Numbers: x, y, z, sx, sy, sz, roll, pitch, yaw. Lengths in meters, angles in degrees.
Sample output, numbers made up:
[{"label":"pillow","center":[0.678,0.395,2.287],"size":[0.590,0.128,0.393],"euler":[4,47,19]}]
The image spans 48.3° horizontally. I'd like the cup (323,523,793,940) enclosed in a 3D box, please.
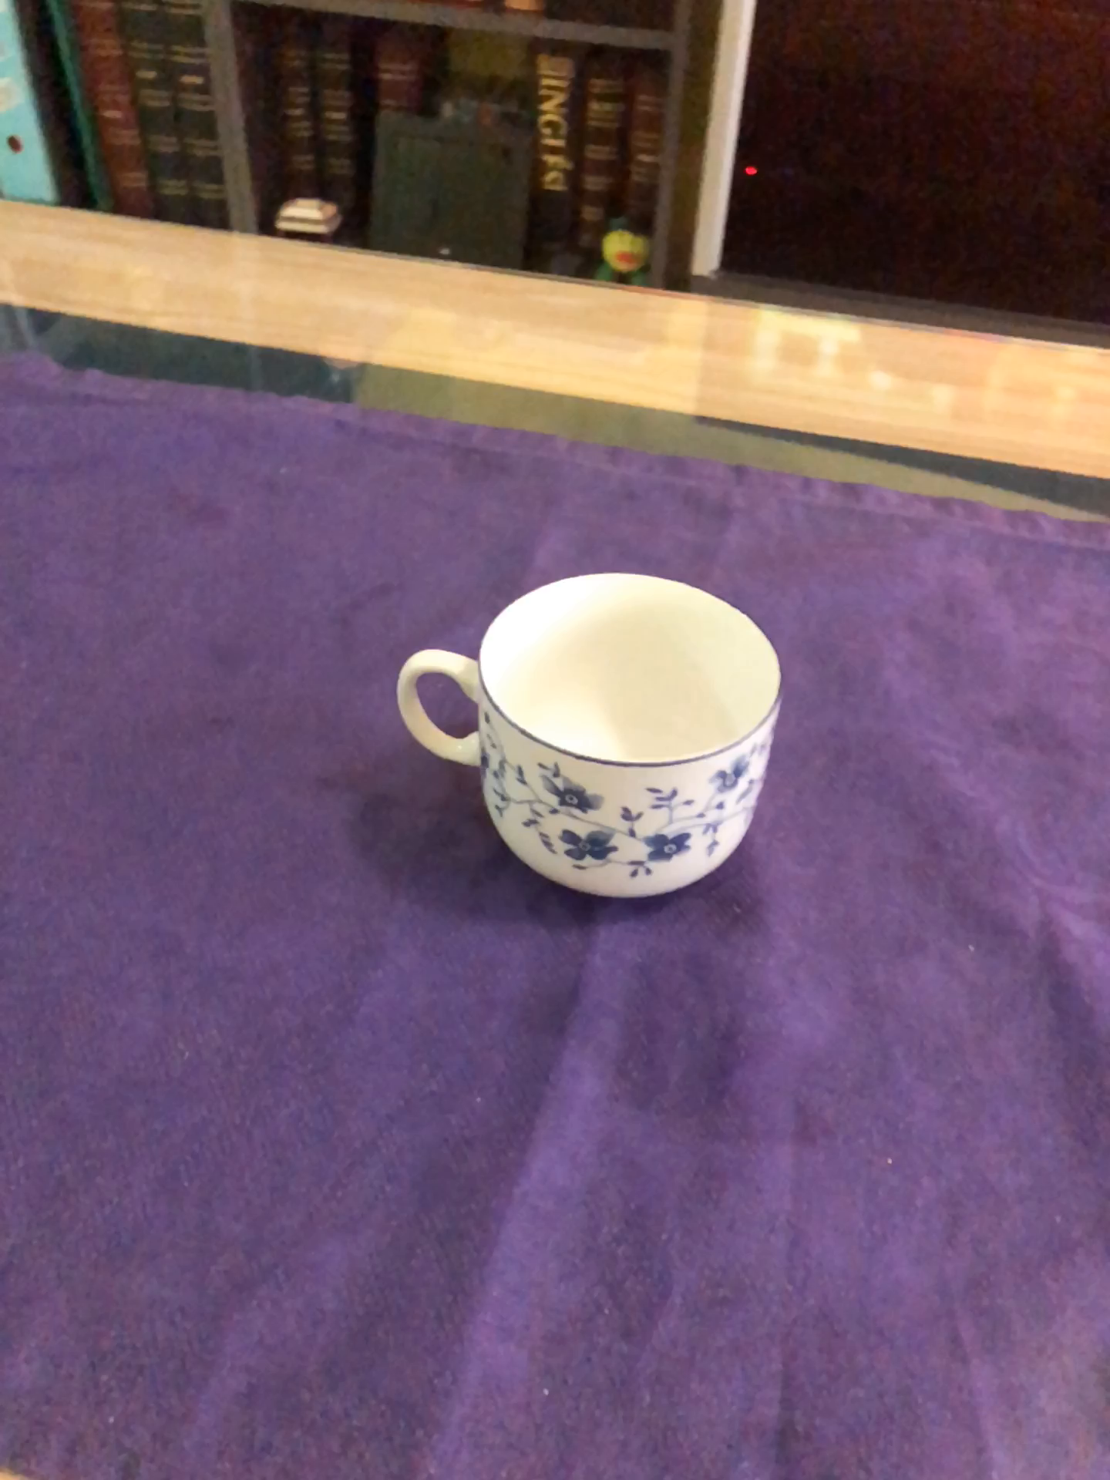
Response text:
[{"label":"cup","center":[0.003,-0.004,0.315],"size":[0.100,0.060,0.070],"euler":[9,44,7]}]
